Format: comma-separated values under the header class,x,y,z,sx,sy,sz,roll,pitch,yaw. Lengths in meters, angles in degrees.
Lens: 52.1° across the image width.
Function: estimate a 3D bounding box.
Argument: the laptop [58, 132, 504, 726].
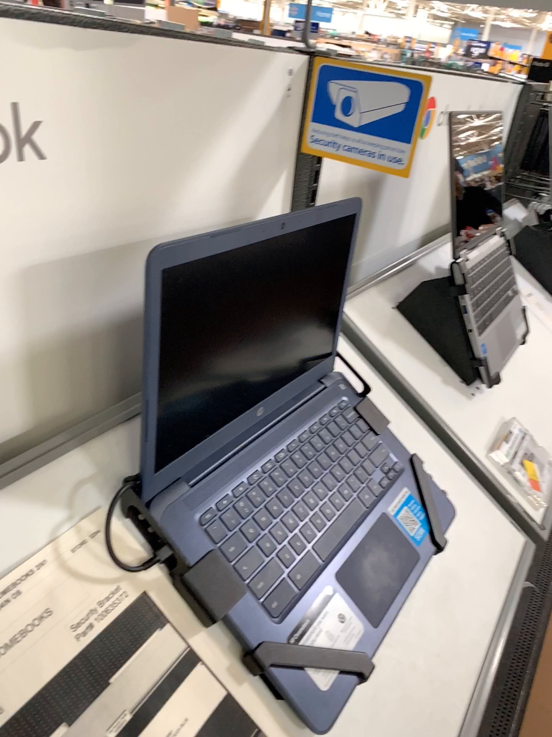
class,x,y,z,sx,sy,sz,roll,pitch,yaw
laptop,0.028,0.005,0.526,0.322,0.190,0.318,43,39,13
